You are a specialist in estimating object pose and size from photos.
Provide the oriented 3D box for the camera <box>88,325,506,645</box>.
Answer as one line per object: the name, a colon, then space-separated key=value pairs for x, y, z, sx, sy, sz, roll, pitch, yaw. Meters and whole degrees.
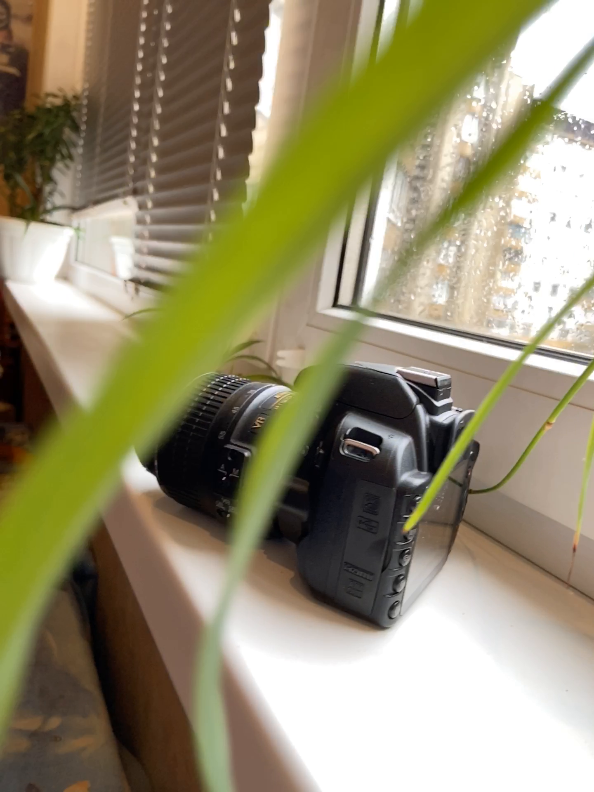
camera: x=0.003 y=0.024 z=0.308 sx=0.159 sy=0.092 sz=0.122 roll=14 pitch=12 yaw=27
